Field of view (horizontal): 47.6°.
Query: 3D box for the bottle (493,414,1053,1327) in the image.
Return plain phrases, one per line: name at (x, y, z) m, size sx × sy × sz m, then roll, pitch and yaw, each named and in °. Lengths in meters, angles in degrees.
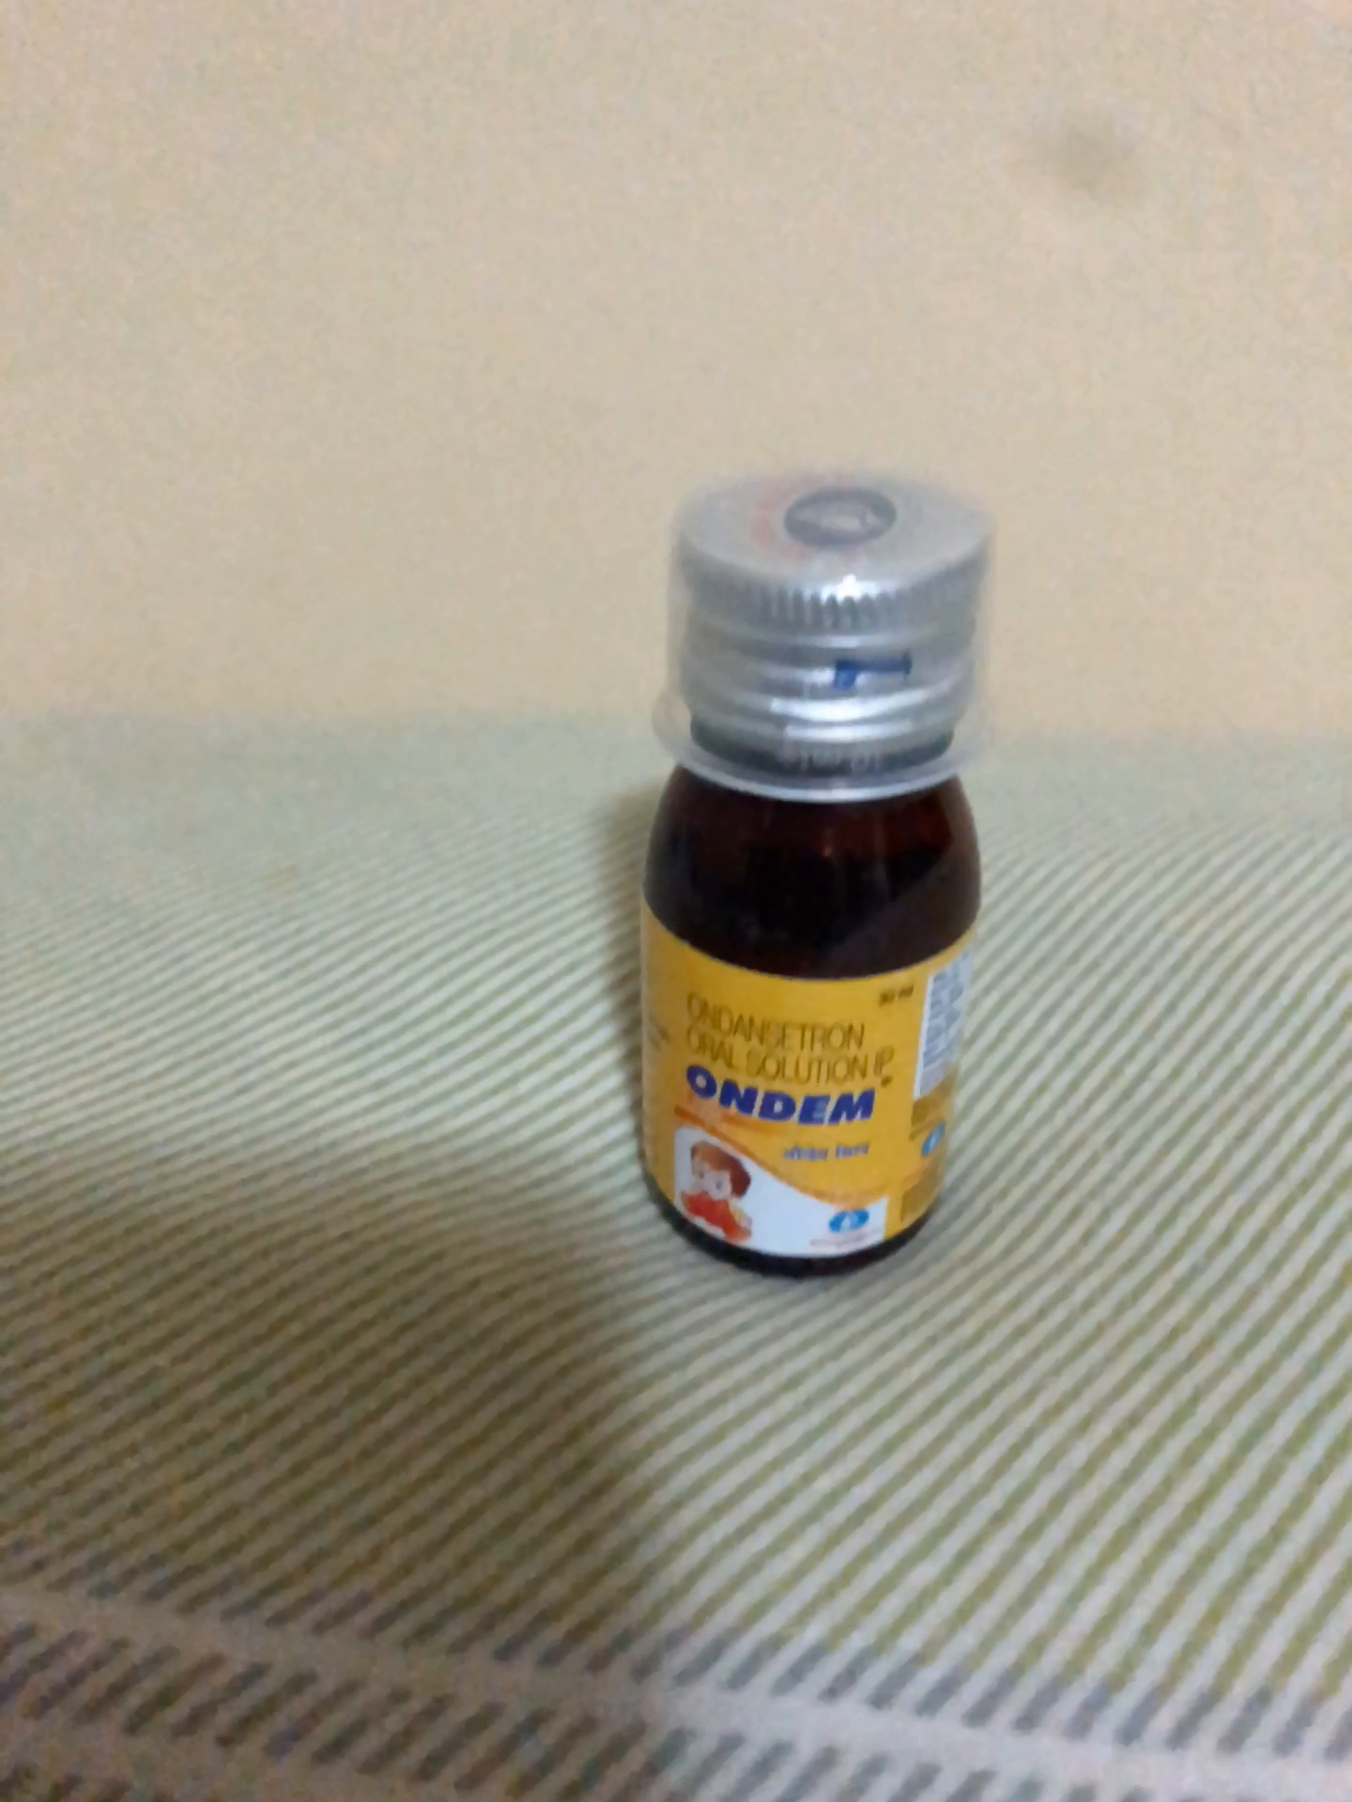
bottle at (0.011, -0.003, 0.151) m, size 0.037 × 0.076 × 0.038 m, roll -2°, pitch 33°, yaw 1°
